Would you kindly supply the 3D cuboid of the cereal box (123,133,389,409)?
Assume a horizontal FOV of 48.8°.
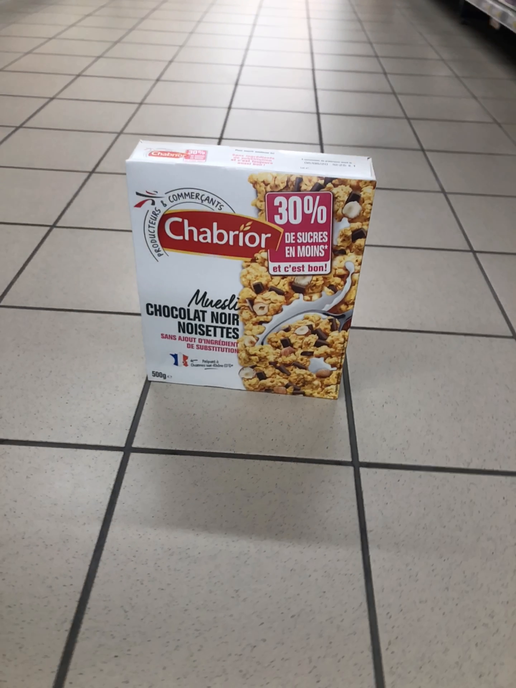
[{"bbox_3d":[-0.005,-0.055,0.517,0.200,0.238,0.050,5,37,3],"label":"cereal box"}]
